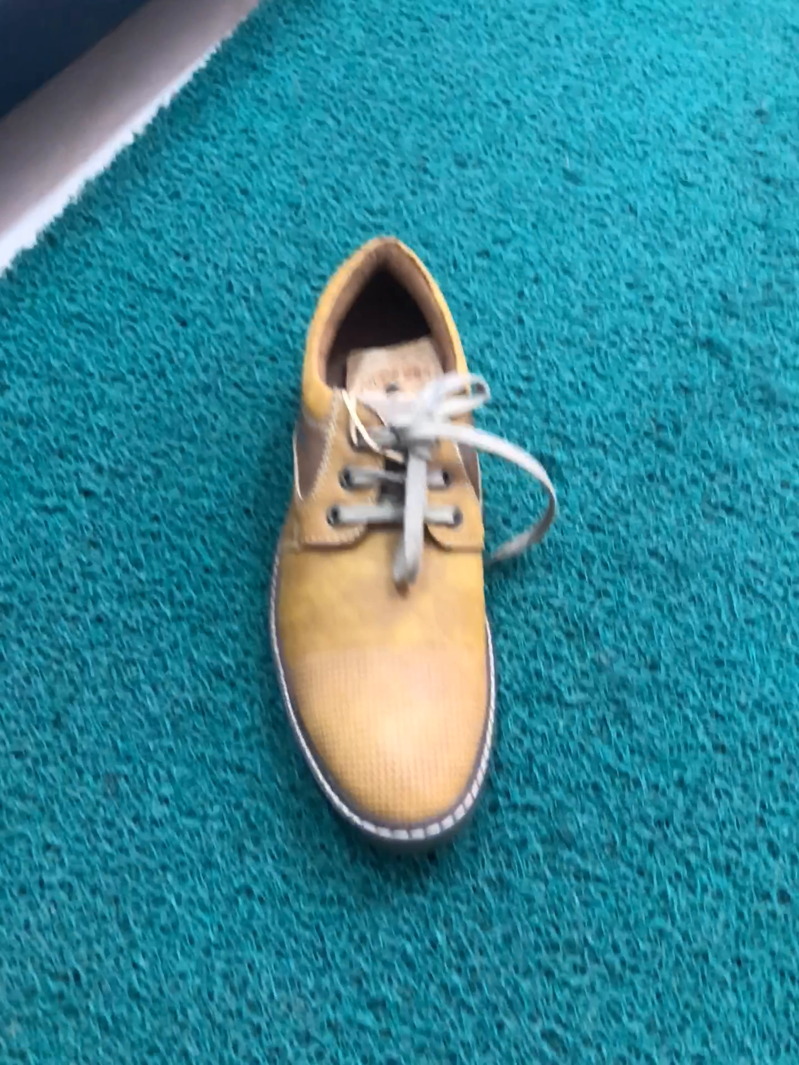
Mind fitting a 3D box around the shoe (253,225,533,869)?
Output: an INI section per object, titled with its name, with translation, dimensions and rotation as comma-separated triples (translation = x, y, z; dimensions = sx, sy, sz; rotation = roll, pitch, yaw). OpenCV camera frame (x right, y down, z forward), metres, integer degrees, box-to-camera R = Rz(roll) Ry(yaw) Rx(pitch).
[shoe]
translation = -0.011, -0.004, 0.438
dimensions = 0.100, 0.110, 0.301
rotation = -2, 60, -2
